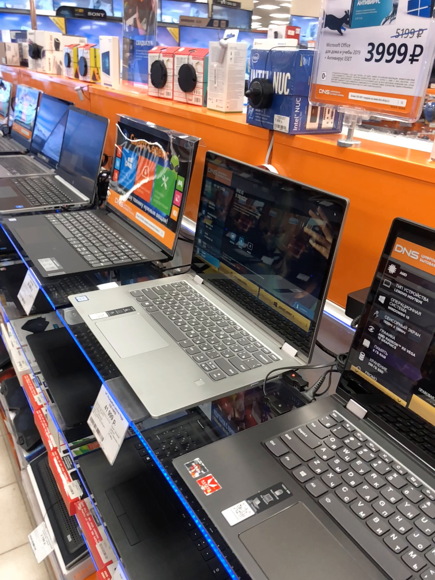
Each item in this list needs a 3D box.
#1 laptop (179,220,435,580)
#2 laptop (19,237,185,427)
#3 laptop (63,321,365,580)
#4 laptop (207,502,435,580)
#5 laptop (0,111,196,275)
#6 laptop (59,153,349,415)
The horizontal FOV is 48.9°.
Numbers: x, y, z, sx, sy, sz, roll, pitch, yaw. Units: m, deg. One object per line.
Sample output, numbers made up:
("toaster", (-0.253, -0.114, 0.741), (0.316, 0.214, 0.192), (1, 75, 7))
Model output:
("laptop", (0.144, 0.101, 0.356), (0.248, 0.209, 0.291), (-11, 28, -29))
("laptop", (-0.270, 0.064, 1.076), (0.239, 0.235, 0.379), (-11, 28, -29))
("laptop", (-0.035, 0.242, 0.716), (0.263, 0.207, 0.369), (-13, 29, -30))
("laptop", (0.174, 0.402, 0.398), (0.237, 0.213, 0.309), (-9, 26, -28))
("laptop", (-0.251, -0.214, 0.944), (0.279, 0.212, 0.306), (-14, 32, -32))
("laptop", (-0.042, -0.045, 0.643), (0.238, 0.212, 0.316), (-11, 29, -29))
